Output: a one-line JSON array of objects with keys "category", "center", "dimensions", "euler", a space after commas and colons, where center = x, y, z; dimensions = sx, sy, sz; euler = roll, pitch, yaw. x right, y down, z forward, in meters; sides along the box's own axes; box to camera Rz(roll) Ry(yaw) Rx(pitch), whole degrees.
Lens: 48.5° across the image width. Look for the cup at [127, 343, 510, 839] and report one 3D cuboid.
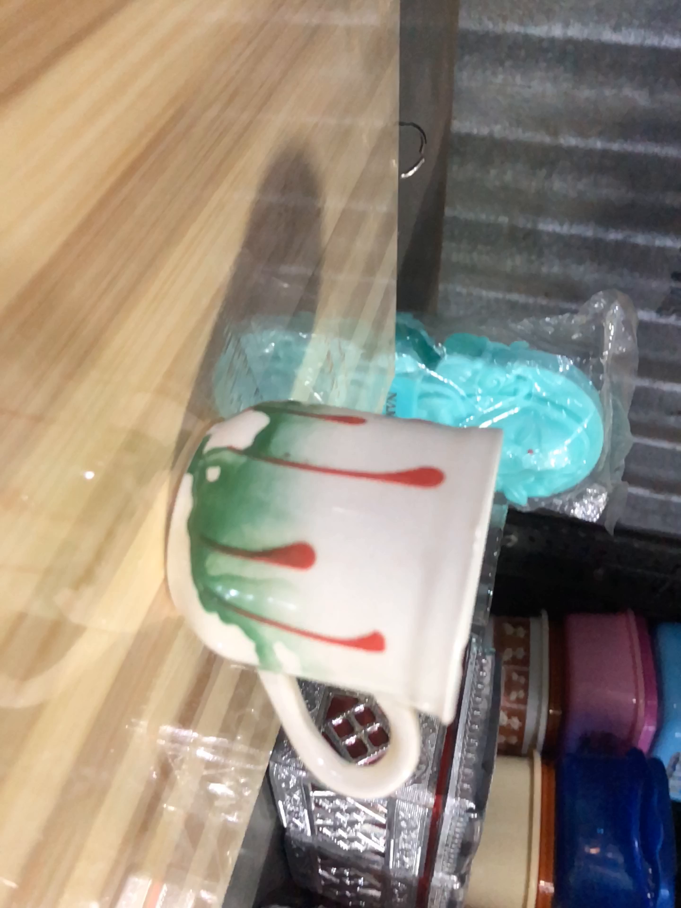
[{"category": "cup", "center": [0.000, 0.023, 0.192], "dimensions": [0.080, 0.070, 0.090], "euler": [-42, 140, -74]}]
